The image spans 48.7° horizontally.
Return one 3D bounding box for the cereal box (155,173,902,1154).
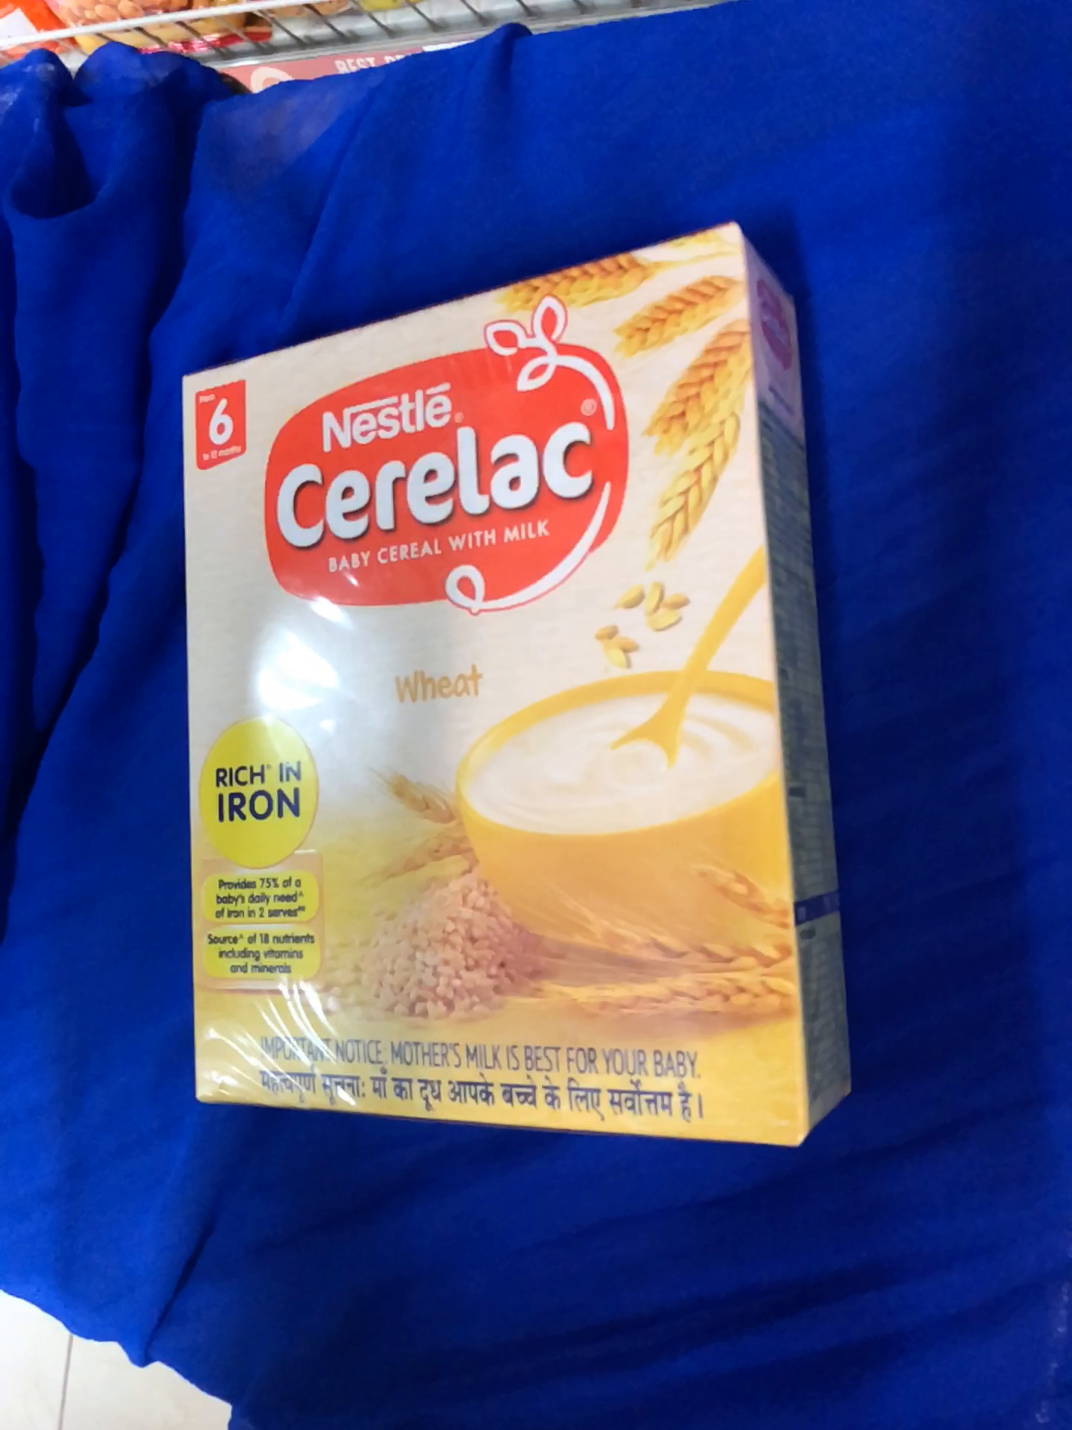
[{"bbox_3d":[-0.006,-0.005,0.286,0.160,0.060,0.190,-5,84,23],"label":"cereal box"}]
